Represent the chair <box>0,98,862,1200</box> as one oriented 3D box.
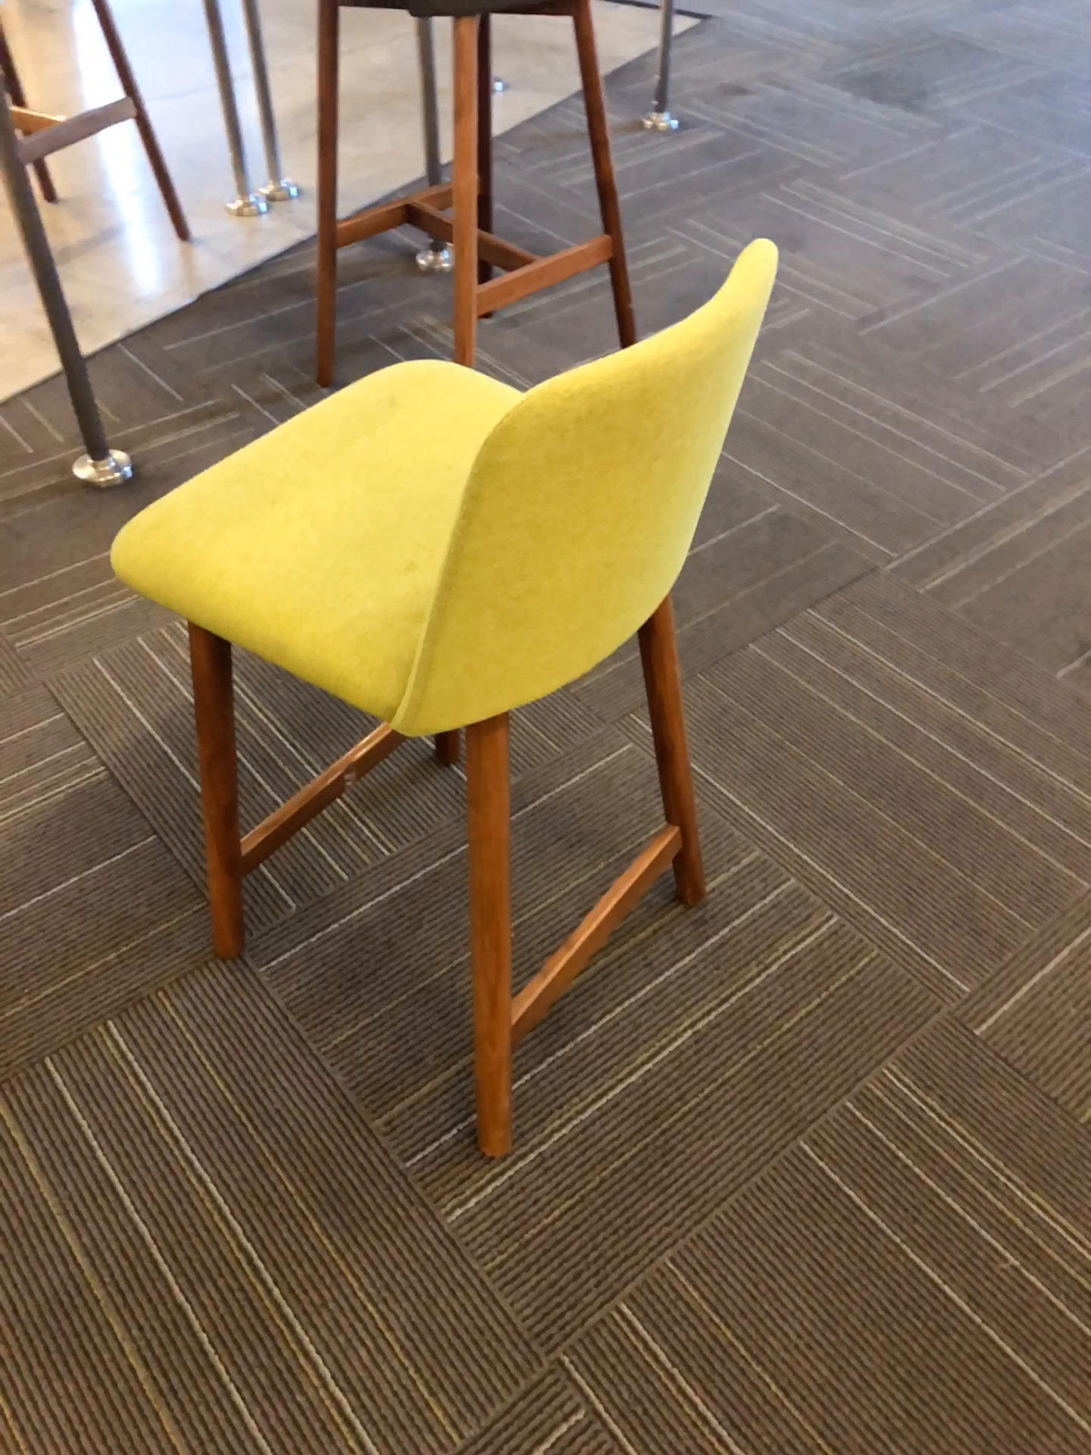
[{"bbox_3d":[-0.100,-0.050,1.209,0.511,0.876,0.461,27,50,25],"label":"chair"}]
